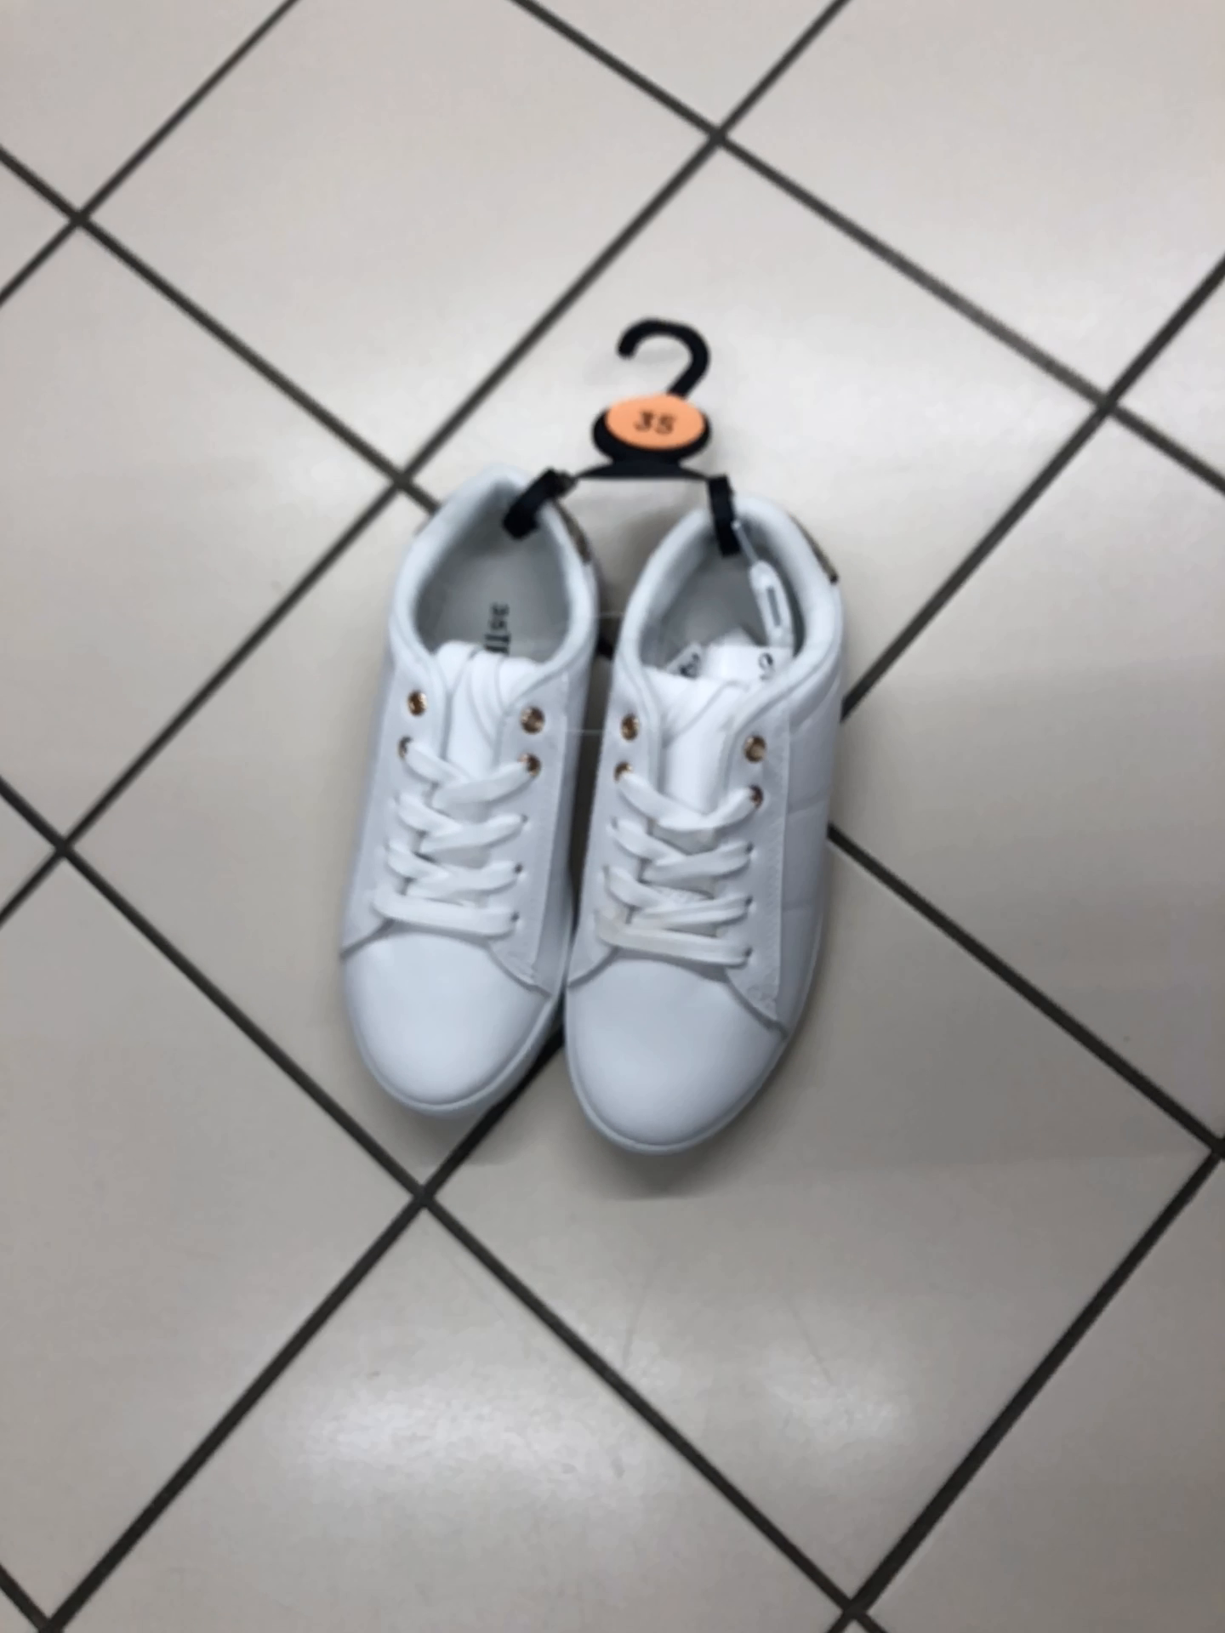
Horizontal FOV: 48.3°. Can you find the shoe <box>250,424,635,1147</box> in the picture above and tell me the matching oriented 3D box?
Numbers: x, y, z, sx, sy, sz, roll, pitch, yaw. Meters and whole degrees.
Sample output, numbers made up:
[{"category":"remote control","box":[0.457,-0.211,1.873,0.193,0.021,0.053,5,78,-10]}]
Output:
[{"category":"shoe","box":[-0.054,-0.010,0.494,0.090,0.080,0.240,5,79,8]}]

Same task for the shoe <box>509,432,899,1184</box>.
[{"category":"shoe","box":[0.037,-0.003,0.484,0.090,0.080,0.240,8,79,8]}]
